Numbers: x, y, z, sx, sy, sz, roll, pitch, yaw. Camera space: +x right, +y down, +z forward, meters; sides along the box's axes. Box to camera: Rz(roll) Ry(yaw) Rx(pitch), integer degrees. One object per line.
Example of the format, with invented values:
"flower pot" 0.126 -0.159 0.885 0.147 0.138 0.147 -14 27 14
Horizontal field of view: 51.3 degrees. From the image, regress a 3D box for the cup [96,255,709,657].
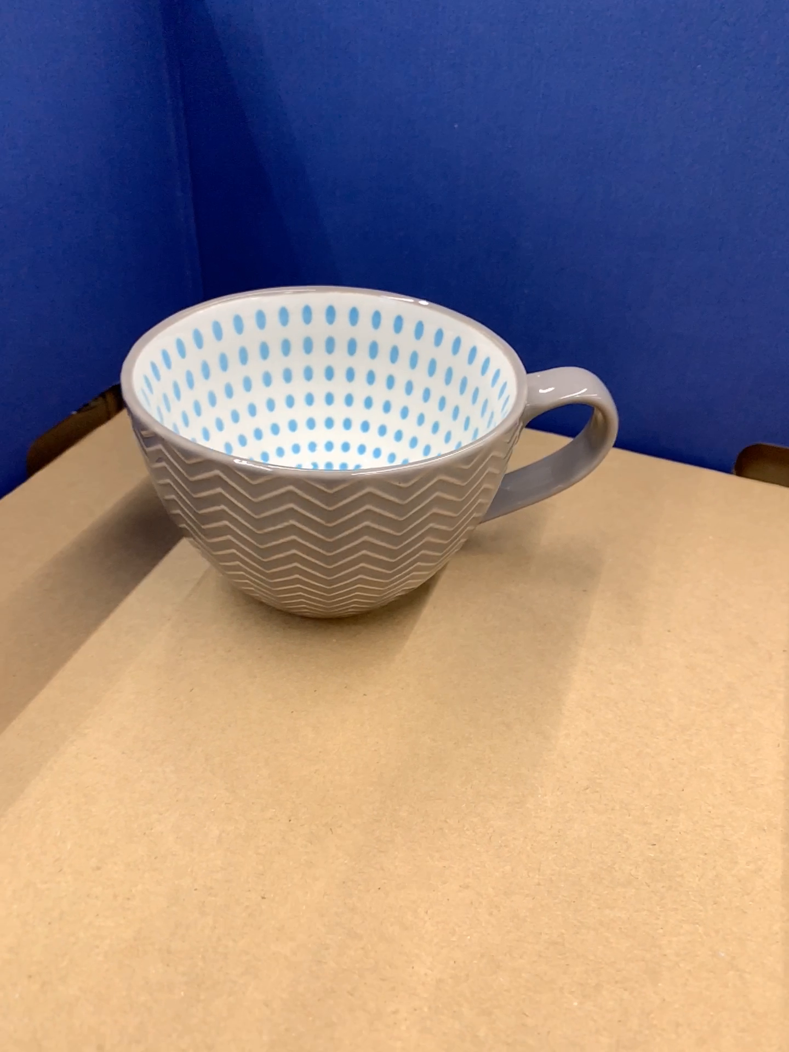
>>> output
"cup" -0.007 -0.033 0.253 0.150 0.058 0.109 -9 37 -16
